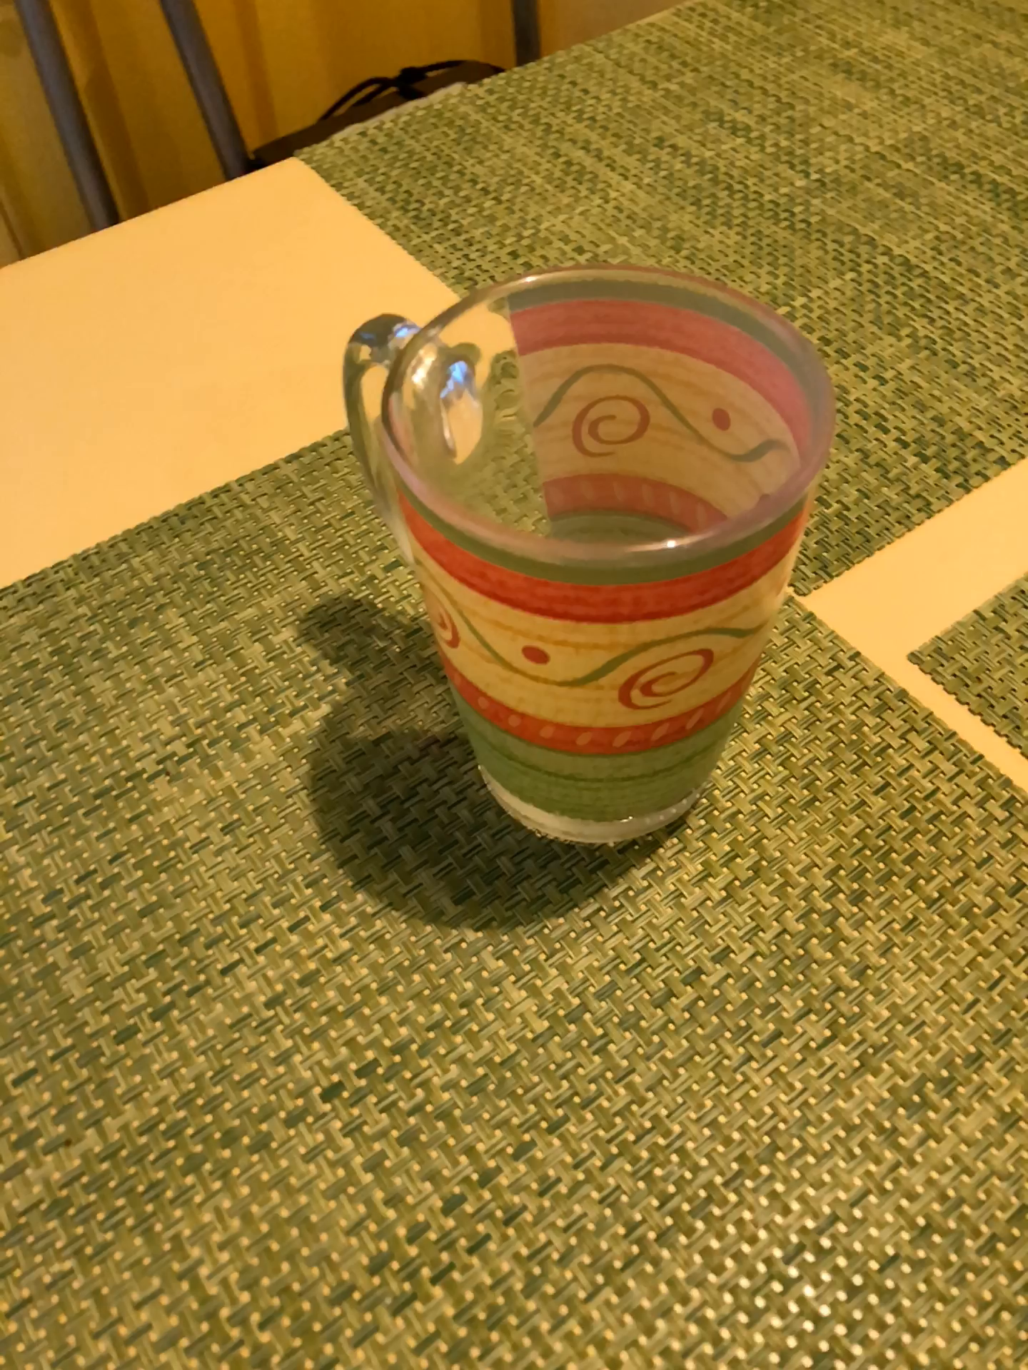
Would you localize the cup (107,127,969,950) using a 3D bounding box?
[{"bbox_3d":[0.004,-0.033,0.232,0.120,0.089,0.090,35,62,25],"label":"cup"}]
